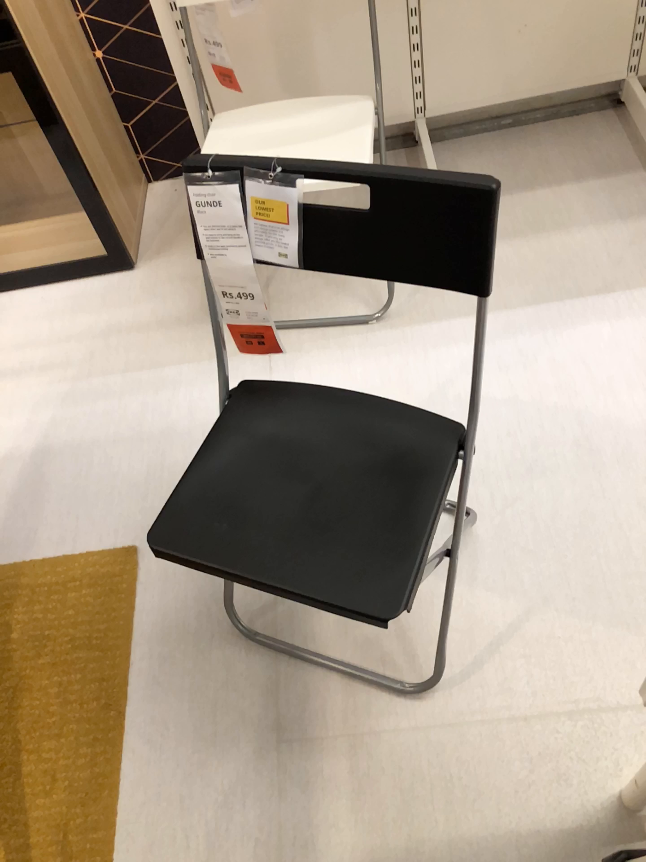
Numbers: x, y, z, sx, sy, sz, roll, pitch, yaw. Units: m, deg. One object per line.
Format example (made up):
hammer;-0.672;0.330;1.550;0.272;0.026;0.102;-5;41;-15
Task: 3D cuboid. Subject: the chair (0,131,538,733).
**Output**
chair;-0.002;0.050;1.078;0.501;0.786;0.462;12;58;19
